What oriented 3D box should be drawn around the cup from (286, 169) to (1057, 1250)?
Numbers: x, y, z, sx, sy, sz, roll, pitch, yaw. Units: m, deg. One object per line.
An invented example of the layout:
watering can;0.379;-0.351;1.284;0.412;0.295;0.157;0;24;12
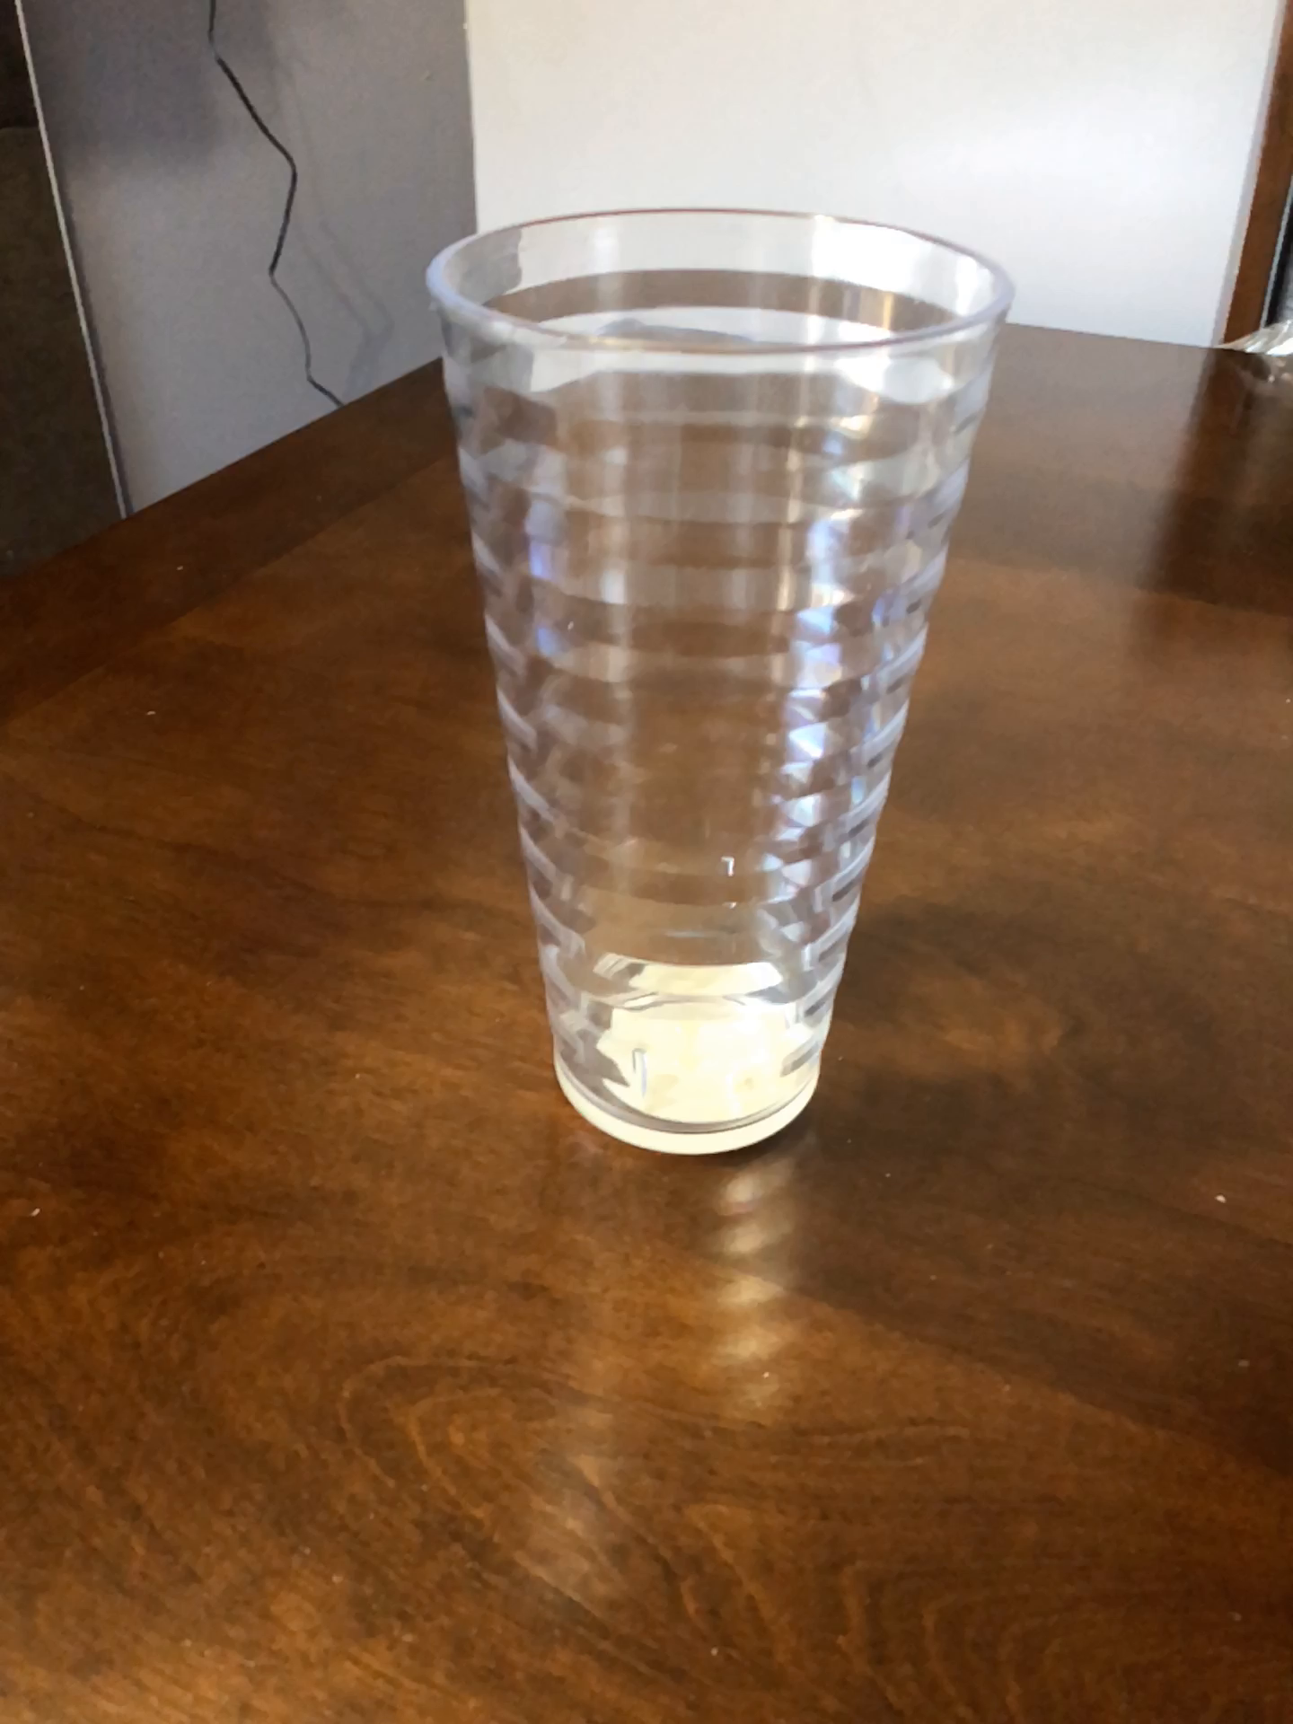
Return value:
cup;0.009;-0.033;0.295;0.100;0.179;0.100;0;35;0
